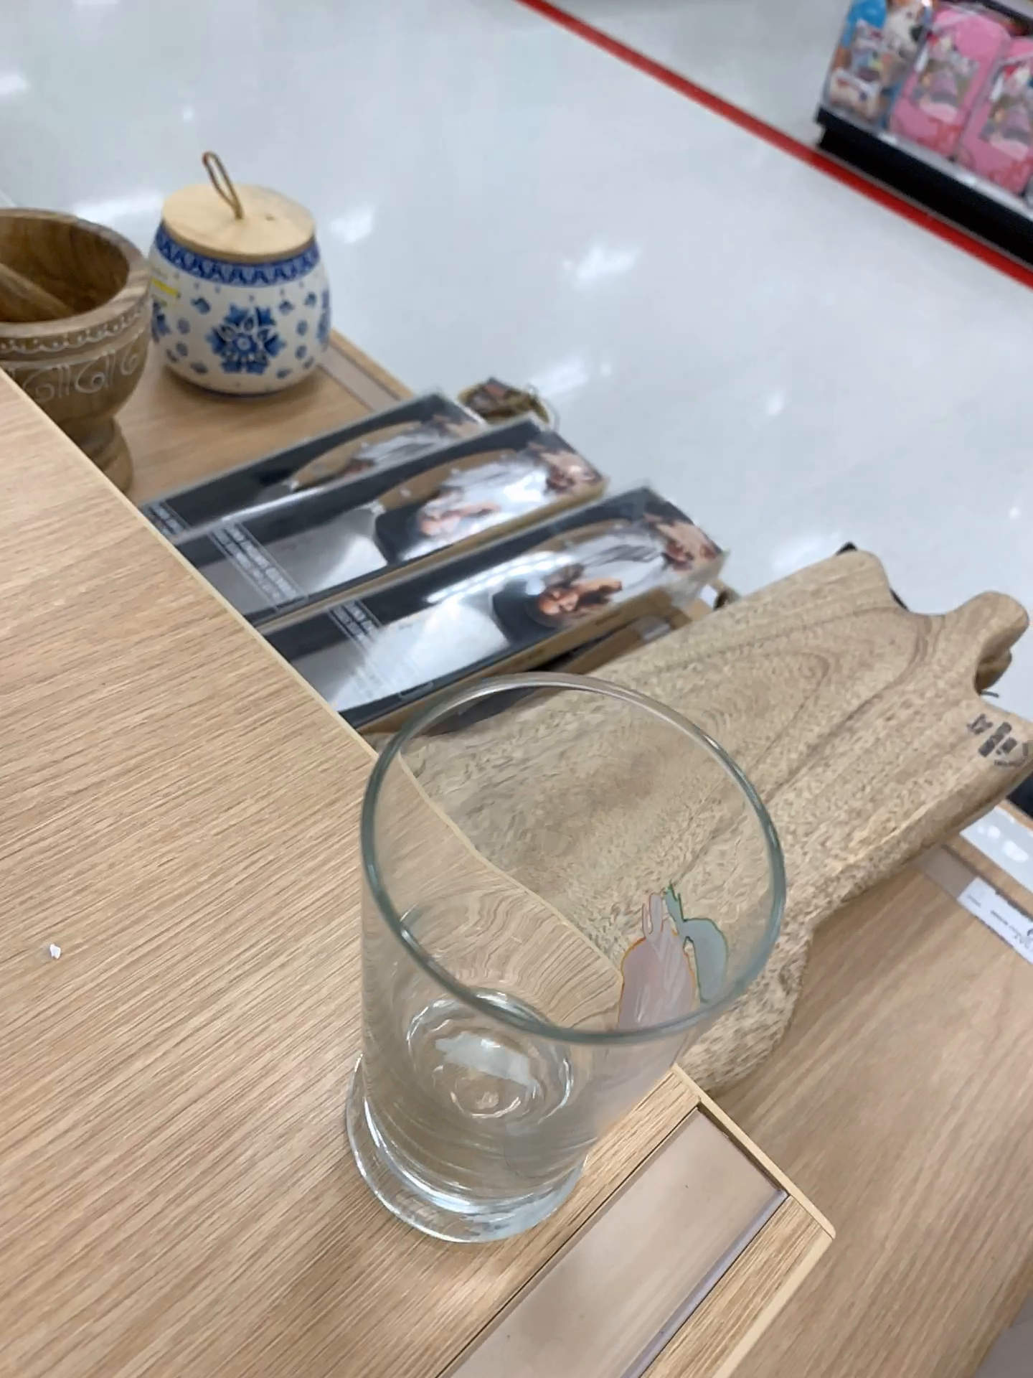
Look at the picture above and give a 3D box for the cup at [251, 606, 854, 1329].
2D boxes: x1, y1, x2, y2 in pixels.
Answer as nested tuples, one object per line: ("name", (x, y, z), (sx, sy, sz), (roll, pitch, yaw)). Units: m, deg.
("cup", (-0.001, 0.061, 0.210), (0.080, 0.119, 0.080), (7, 48, -8))
